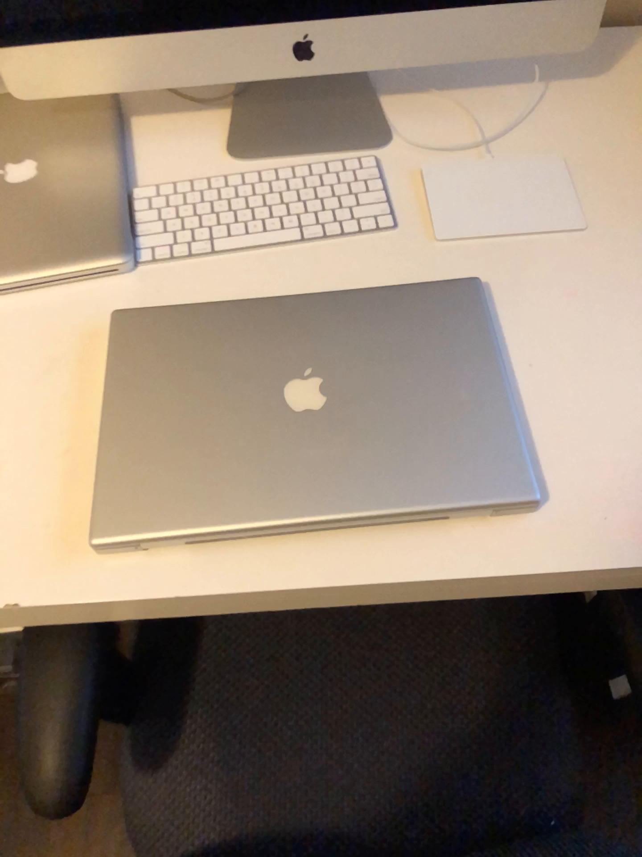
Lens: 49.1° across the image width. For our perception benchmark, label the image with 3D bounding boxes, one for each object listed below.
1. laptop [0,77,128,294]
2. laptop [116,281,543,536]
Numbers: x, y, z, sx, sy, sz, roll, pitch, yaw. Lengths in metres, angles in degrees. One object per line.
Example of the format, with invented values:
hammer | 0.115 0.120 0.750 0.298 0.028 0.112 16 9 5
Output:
laptop | -0.311 -0.276 0.762 0.200 0.009 0.279 -9 60 -6
laptop | 0.001 -0.027 0.600 0.332 0.005 0.215 -5 60 -1
